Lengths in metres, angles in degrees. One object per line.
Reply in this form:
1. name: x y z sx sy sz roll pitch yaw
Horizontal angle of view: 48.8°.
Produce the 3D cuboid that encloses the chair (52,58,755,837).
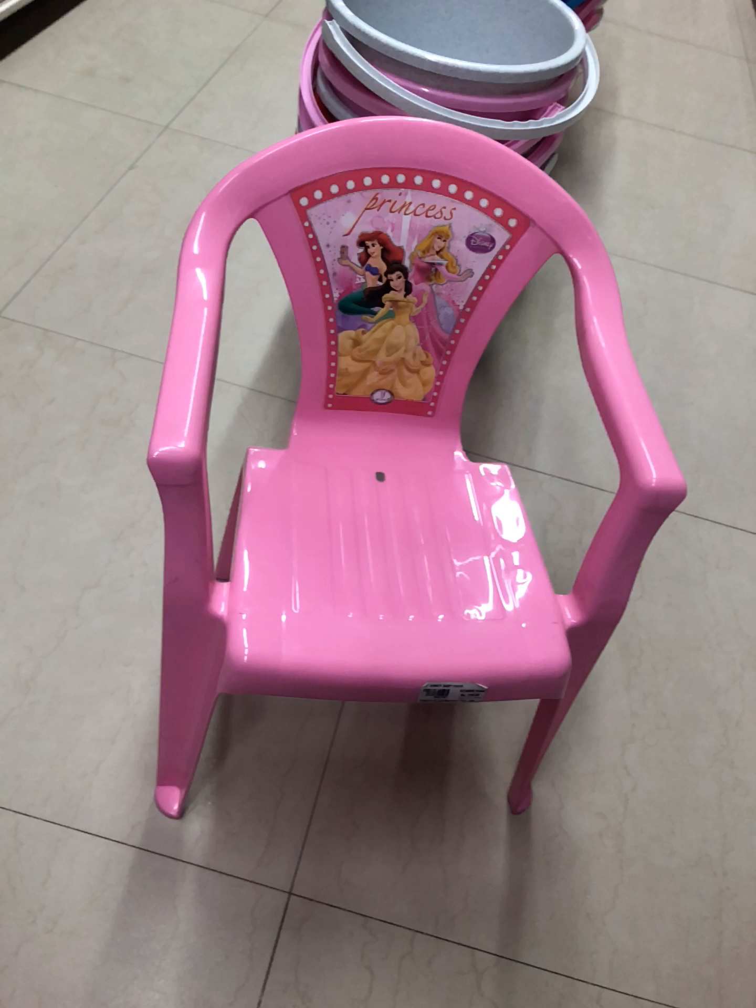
1. chair: 0.003 -0.003 0.654 0.370 0.477 0.352 2 50 -10
